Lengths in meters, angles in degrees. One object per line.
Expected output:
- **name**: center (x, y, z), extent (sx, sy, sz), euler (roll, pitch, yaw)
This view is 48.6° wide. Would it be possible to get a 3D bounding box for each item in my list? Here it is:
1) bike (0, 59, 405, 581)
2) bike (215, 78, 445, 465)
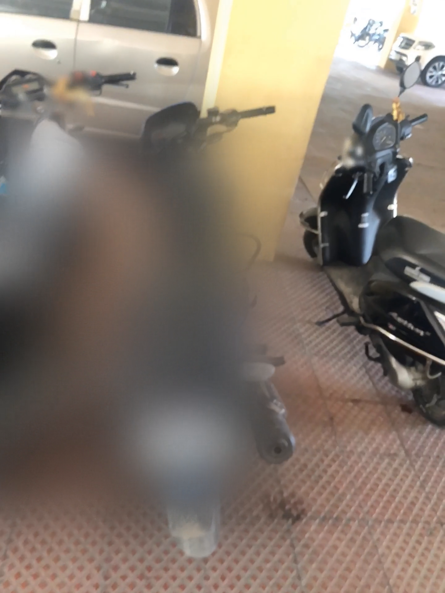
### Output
- **bike**: center (-0.288, -0.149, 1.847), extent (0.745, 0.988, 1.853), euler (5, 32, -13)
- **bike**: center (0.653, -0.257, 2.560), extent (0.713, 1.222, 1.721), euler (0, 34, -20)
